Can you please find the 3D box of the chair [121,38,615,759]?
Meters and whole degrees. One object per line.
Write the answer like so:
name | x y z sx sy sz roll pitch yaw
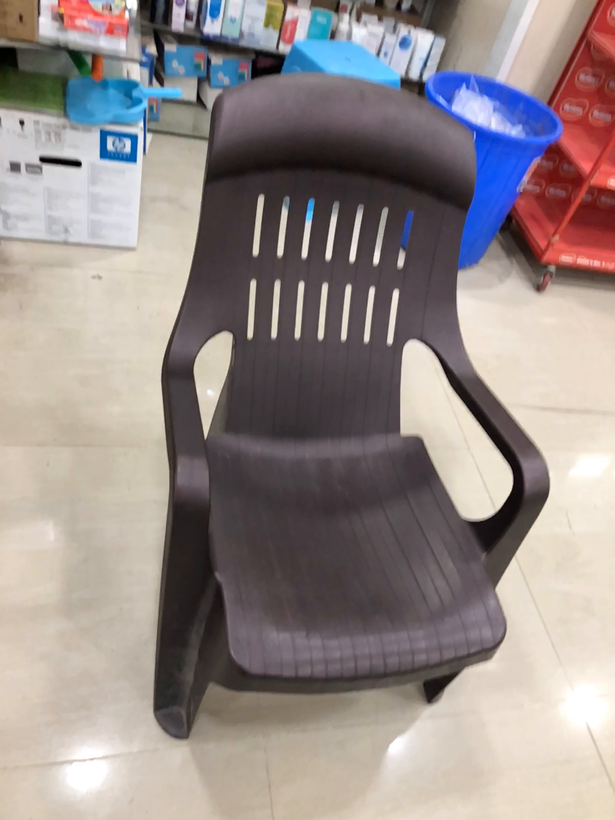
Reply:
chair | 0.044 0.022 1.108 0.631 0.844 0.684 1 47 -18
